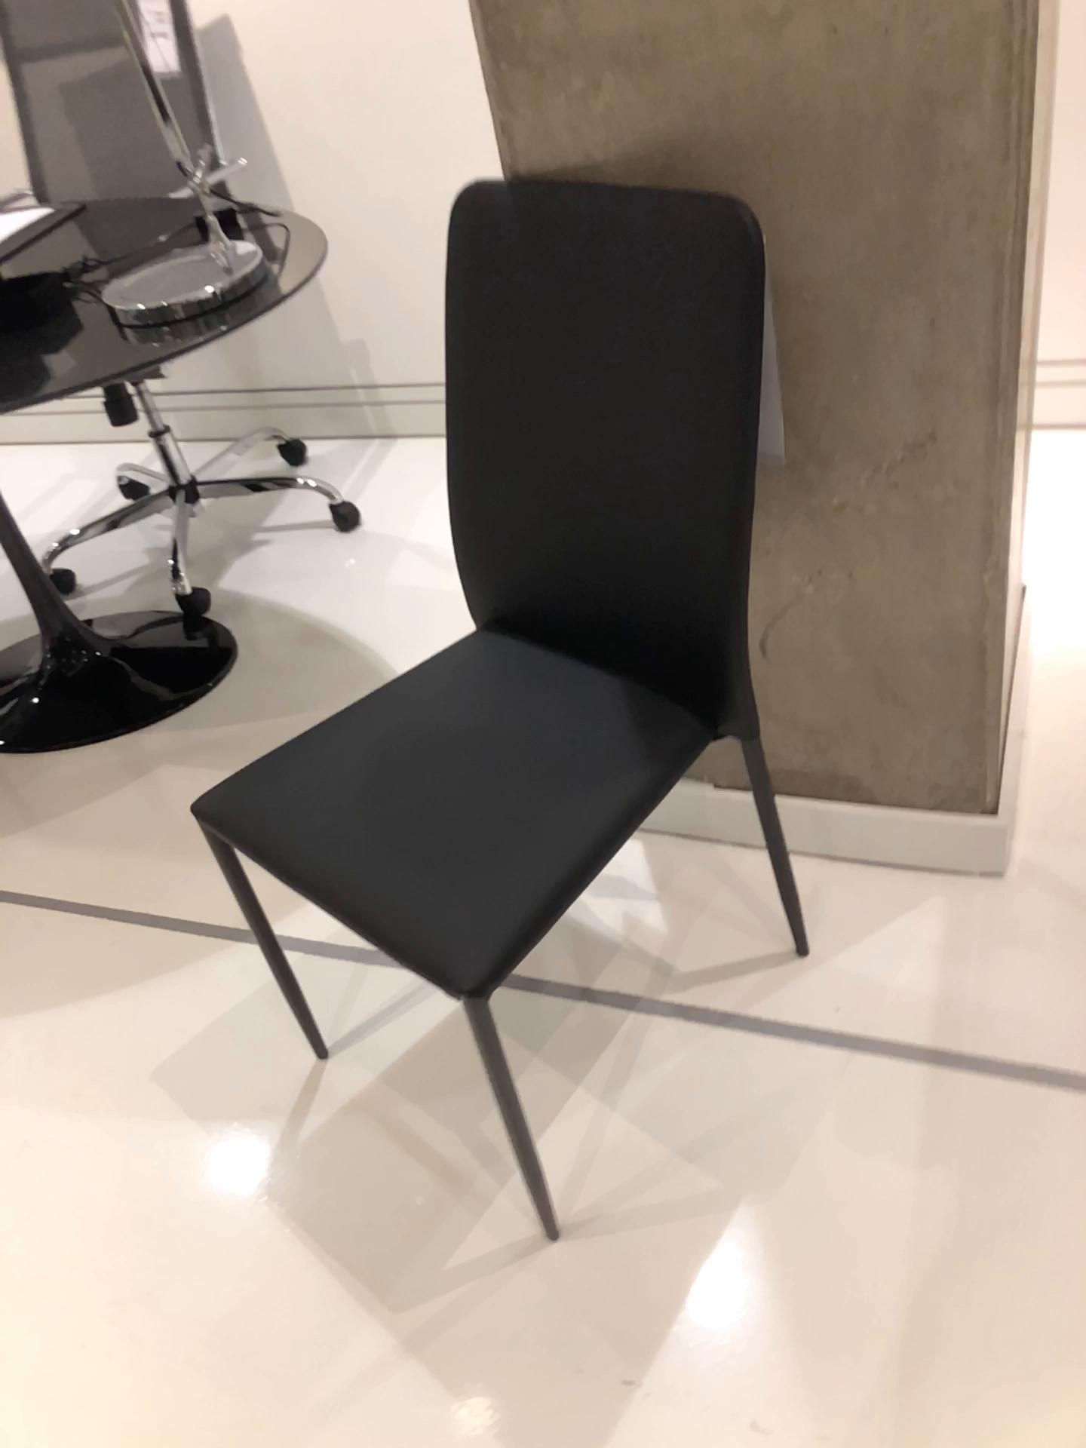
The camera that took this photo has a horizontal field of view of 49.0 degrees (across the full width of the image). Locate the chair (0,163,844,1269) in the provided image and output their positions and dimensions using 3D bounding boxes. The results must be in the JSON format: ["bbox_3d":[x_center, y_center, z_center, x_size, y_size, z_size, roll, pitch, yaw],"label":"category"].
[{"bbox_3d":[-0.064,-0.010,1.224,0.472,0.883,0.542,25,53,39],"label":"chair"}]
